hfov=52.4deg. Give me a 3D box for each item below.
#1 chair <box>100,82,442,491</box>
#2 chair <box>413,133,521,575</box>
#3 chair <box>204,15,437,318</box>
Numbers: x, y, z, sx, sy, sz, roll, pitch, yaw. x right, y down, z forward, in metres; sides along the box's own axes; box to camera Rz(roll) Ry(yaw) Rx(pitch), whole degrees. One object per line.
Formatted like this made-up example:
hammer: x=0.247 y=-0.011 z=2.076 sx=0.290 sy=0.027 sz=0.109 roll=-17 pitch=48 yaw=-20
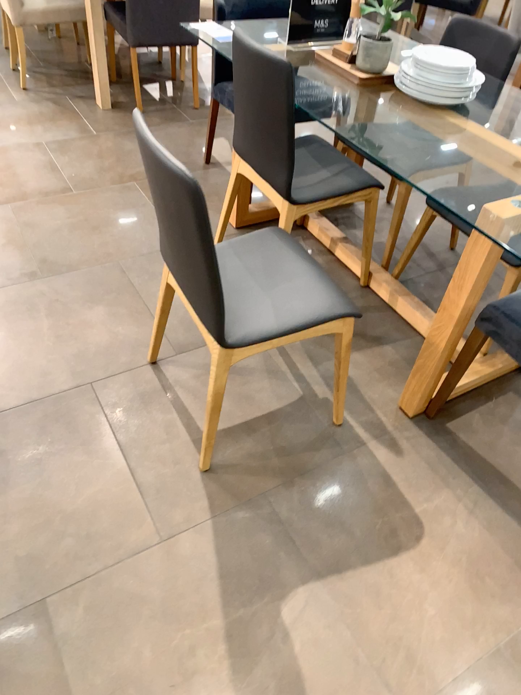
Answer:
chair: x=-0.038 y=-0.162 z=1.413 sx=0.537 sy=0.813 sz=0.566 roll=-16 pitch=48 yaw=-23
chair: x=0.906 y=0.012 z=1.357 sx=0.544 sy=0.813 sz=0.590 roll=-22 pitch=51 yaw=-27
chair: x=0.143 y=-0.647 z=1.915 sx=0.498 sy=0.833 sz=0.526 roll=-18 pitch=49 yaw=-25
